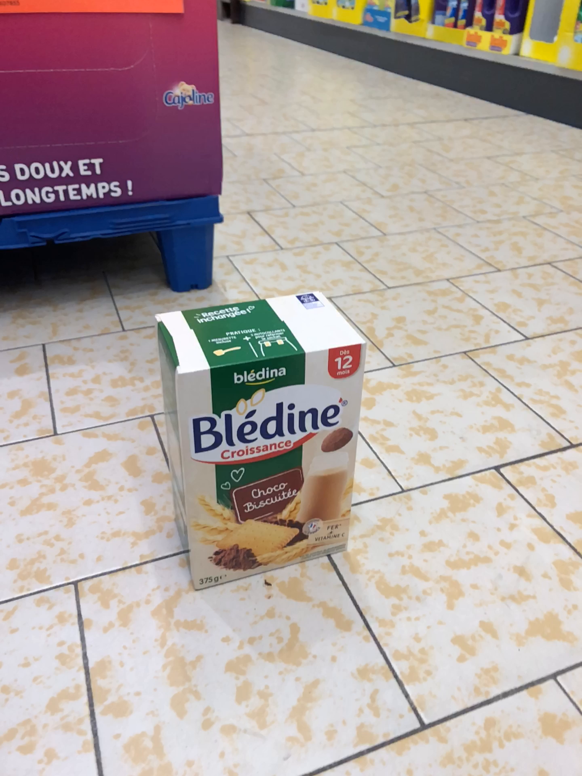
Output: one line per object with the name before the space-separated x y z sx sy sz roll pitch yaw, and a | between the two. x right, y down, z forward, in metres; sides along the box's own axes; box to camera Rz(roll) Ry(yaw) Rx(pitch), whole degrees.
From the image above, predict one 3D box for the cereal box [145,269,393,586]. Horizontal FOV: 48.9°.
cereal box | -0.017 0.026 0.431 0.130 0.179 0.080 -10 35 -16
